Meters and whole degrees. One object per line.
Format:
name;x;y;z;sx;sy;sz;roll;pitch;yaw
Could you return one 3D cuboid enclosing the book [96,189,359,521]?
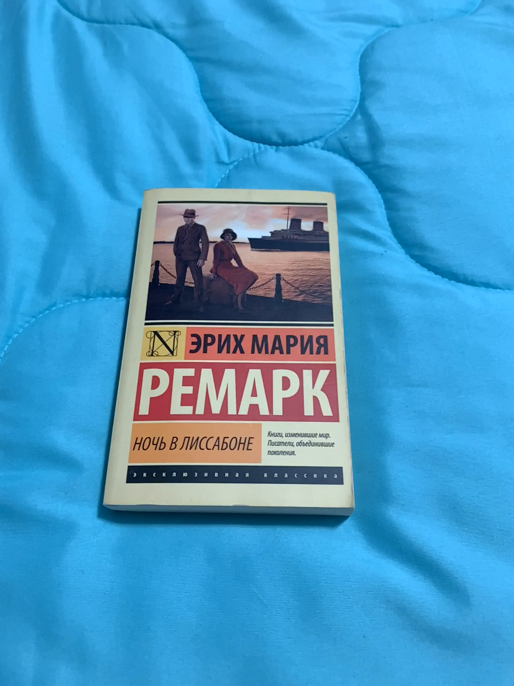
book;-0.012;-0.002;0.270;0.112;0.020;0.173;1;66;-1
